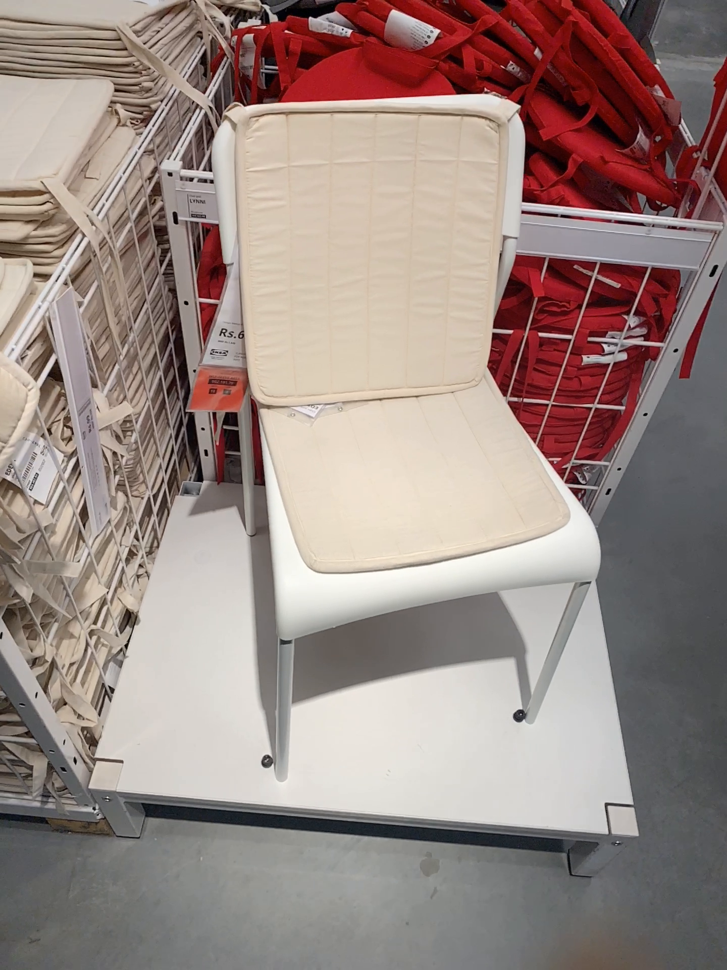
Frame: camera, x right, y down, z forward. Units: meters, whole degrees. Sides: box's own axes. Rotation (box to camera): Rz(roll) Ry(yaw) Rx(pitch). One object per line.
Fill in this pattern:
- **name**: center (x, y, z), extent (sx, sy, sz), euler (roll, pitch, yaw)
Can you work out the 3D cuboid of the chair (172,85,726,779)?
- **chair**: center (0.042, -0.041, 0.951), extent (0.430, 0.698, 0.482), euler (-9, 49, -12)
